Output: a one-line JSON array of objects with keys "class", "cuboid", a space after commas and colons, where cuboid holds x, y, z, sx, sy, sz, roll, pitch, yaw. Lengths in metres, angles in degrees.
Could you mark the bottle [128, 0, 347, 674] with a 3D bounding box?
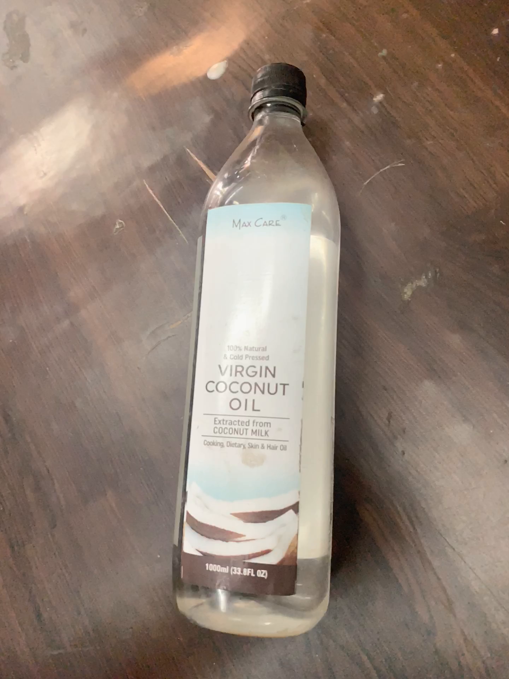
[{"class": "bottle", "cuboid": [0.001, -0.012, 0.262, 0.080, 0.070, 0.290, 0, 81, 13]}]
